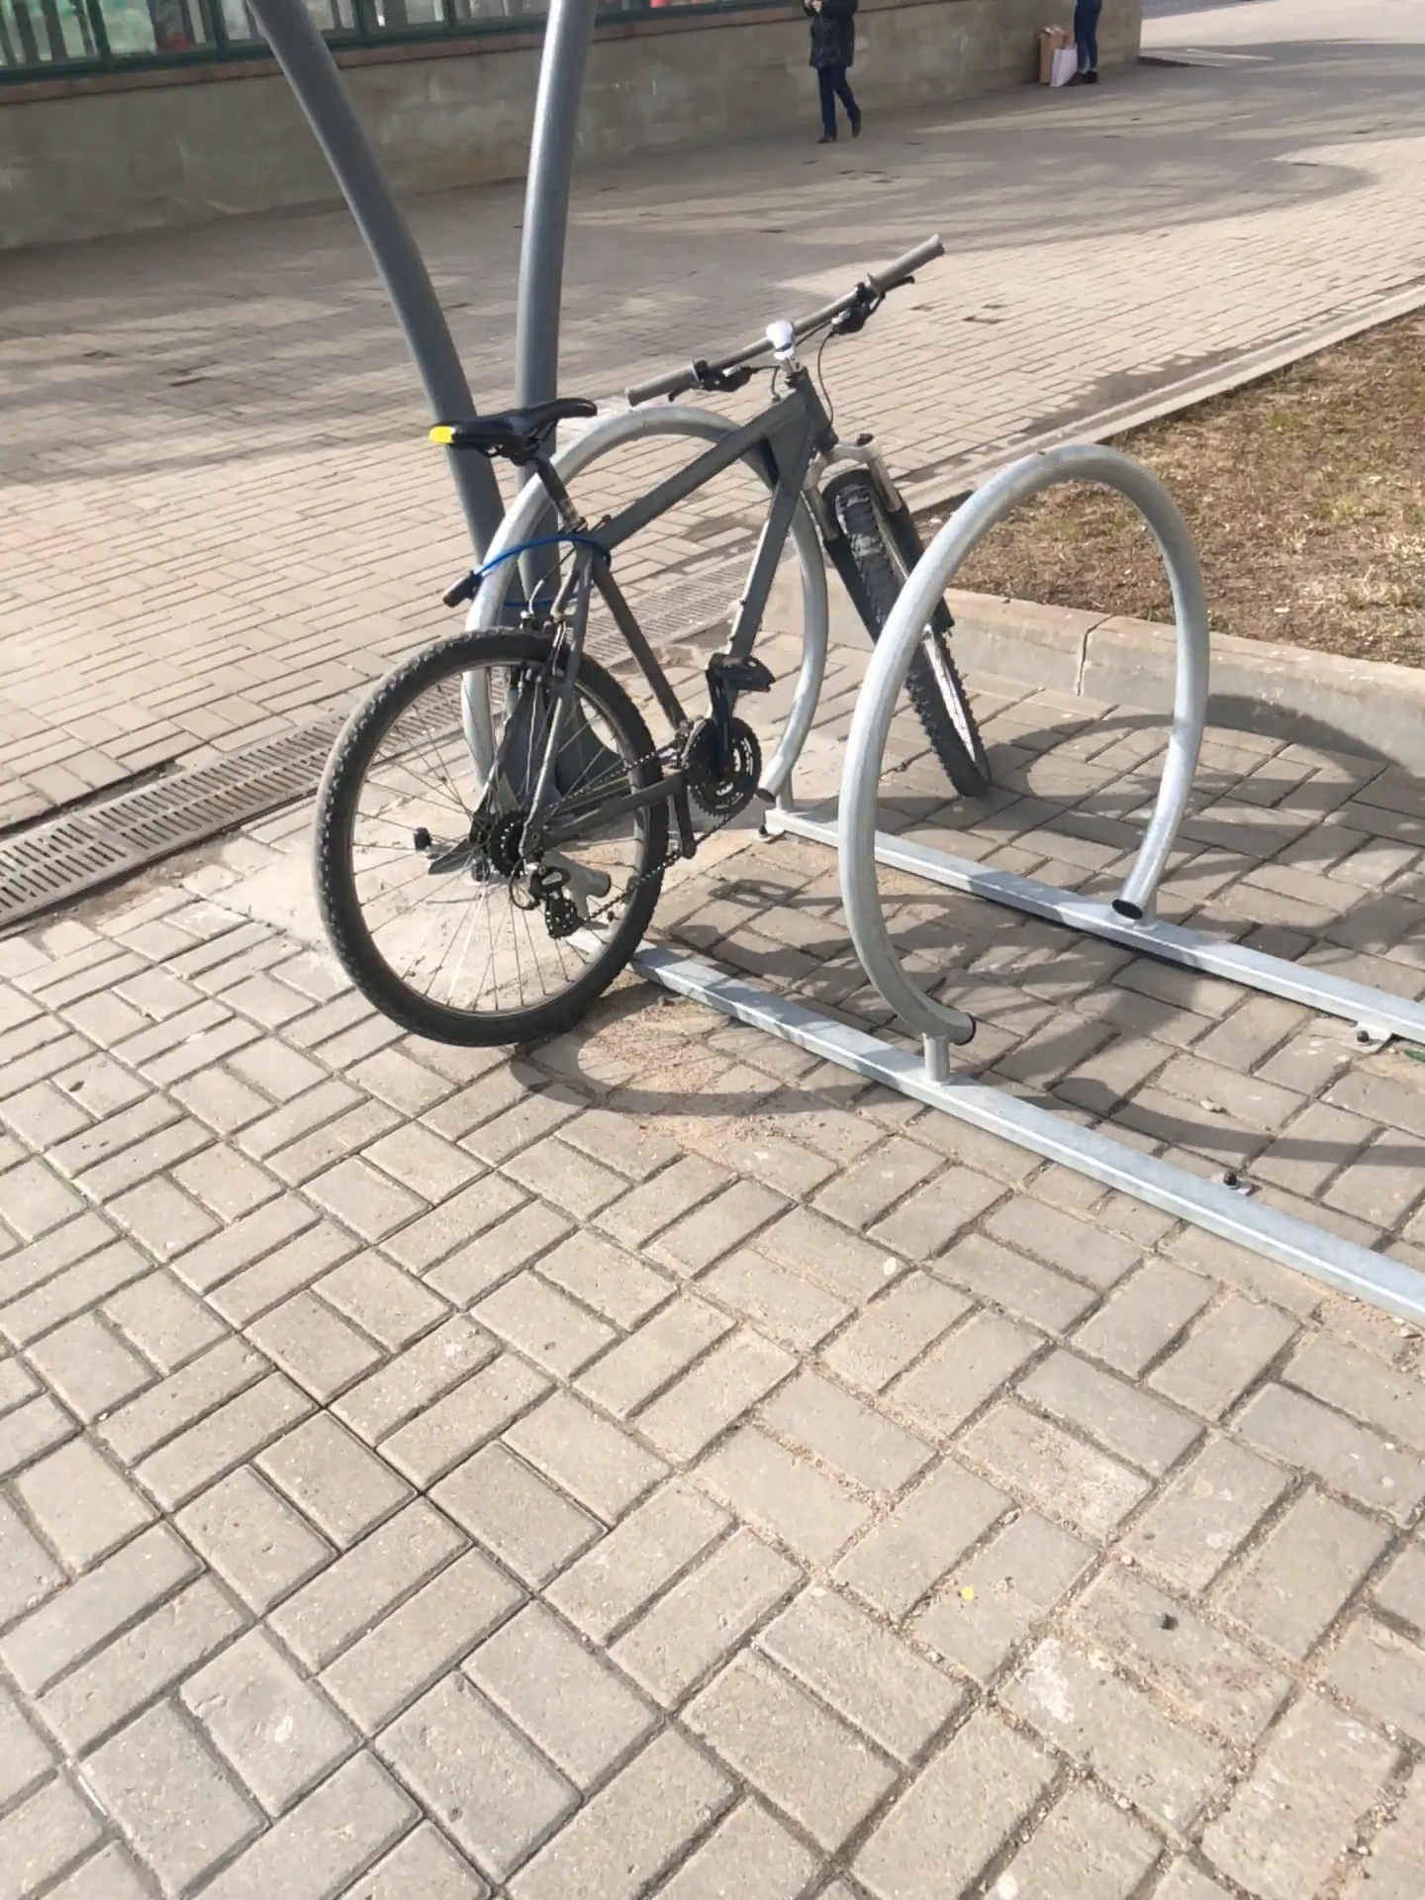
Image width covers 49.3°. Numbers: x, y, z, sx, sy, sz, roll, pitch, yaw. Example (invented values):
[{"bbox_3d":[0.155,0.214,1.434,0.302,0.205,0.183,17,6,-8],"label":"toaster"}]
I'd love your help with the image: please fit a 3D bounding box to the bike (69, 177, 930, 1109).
[{"bbox_3d":[-0.211,-0.687,2.748,0.562,0.979,1.617,17,39,32],"label":"bike"}]
